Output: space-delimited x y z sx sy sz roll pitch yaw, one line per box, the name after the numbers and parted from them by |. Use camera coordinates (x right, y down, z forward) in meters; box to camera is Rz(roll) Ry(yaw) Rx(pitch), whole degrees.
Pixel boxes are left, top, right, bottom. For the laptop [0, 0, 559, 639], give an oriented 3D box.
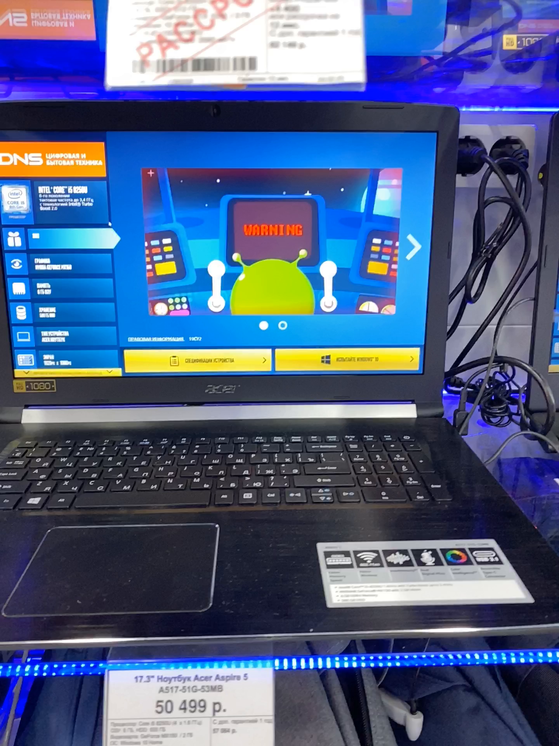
-0.051 -0.054 0.392 0.424 0.278 0.312 -1 17 -2 | laptop
